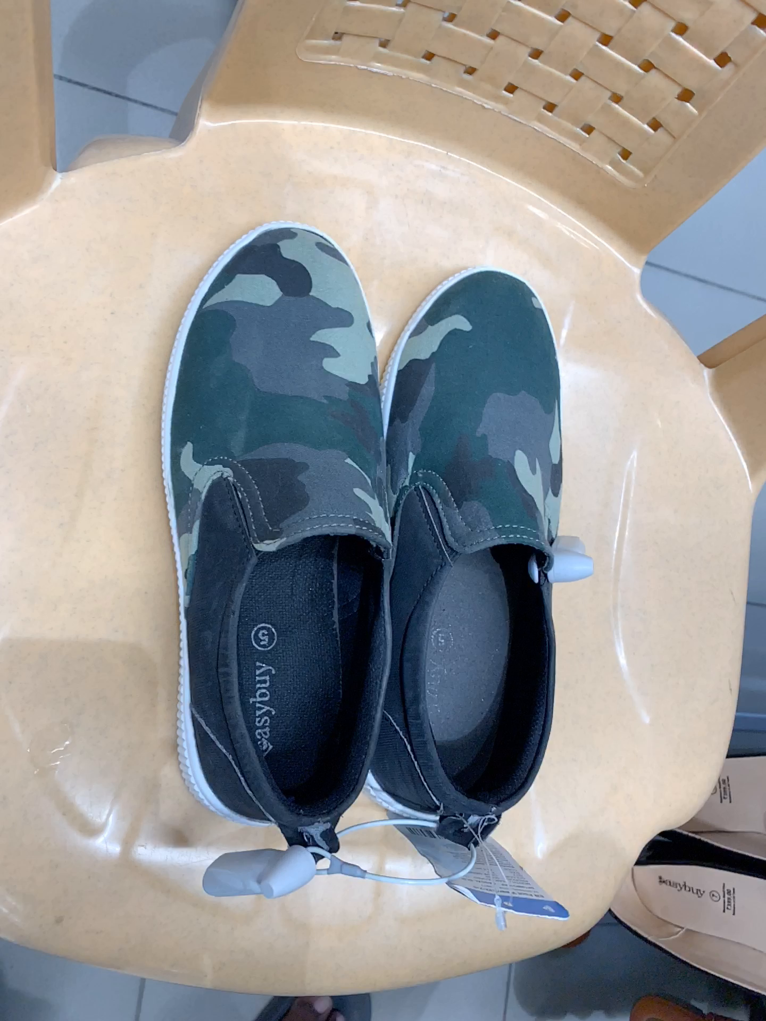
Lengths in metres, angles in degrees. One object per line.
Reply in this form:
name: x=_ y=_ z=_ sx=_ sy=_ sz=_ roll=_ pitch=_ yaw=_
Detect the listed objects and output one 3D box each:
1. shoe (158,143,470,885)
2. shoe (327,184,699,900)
shoe: x=-0.031 y=0.002 z=0.295 sx=0.090 sy=0.100 sz=0.220 roll=2 pitch=87 yaw=-18
shoe: x=0.049 y=0.014 z=0.324 sx=0.090 sy=0.100 sz=0.240 roll=10 pitch=81 yaw=-18
